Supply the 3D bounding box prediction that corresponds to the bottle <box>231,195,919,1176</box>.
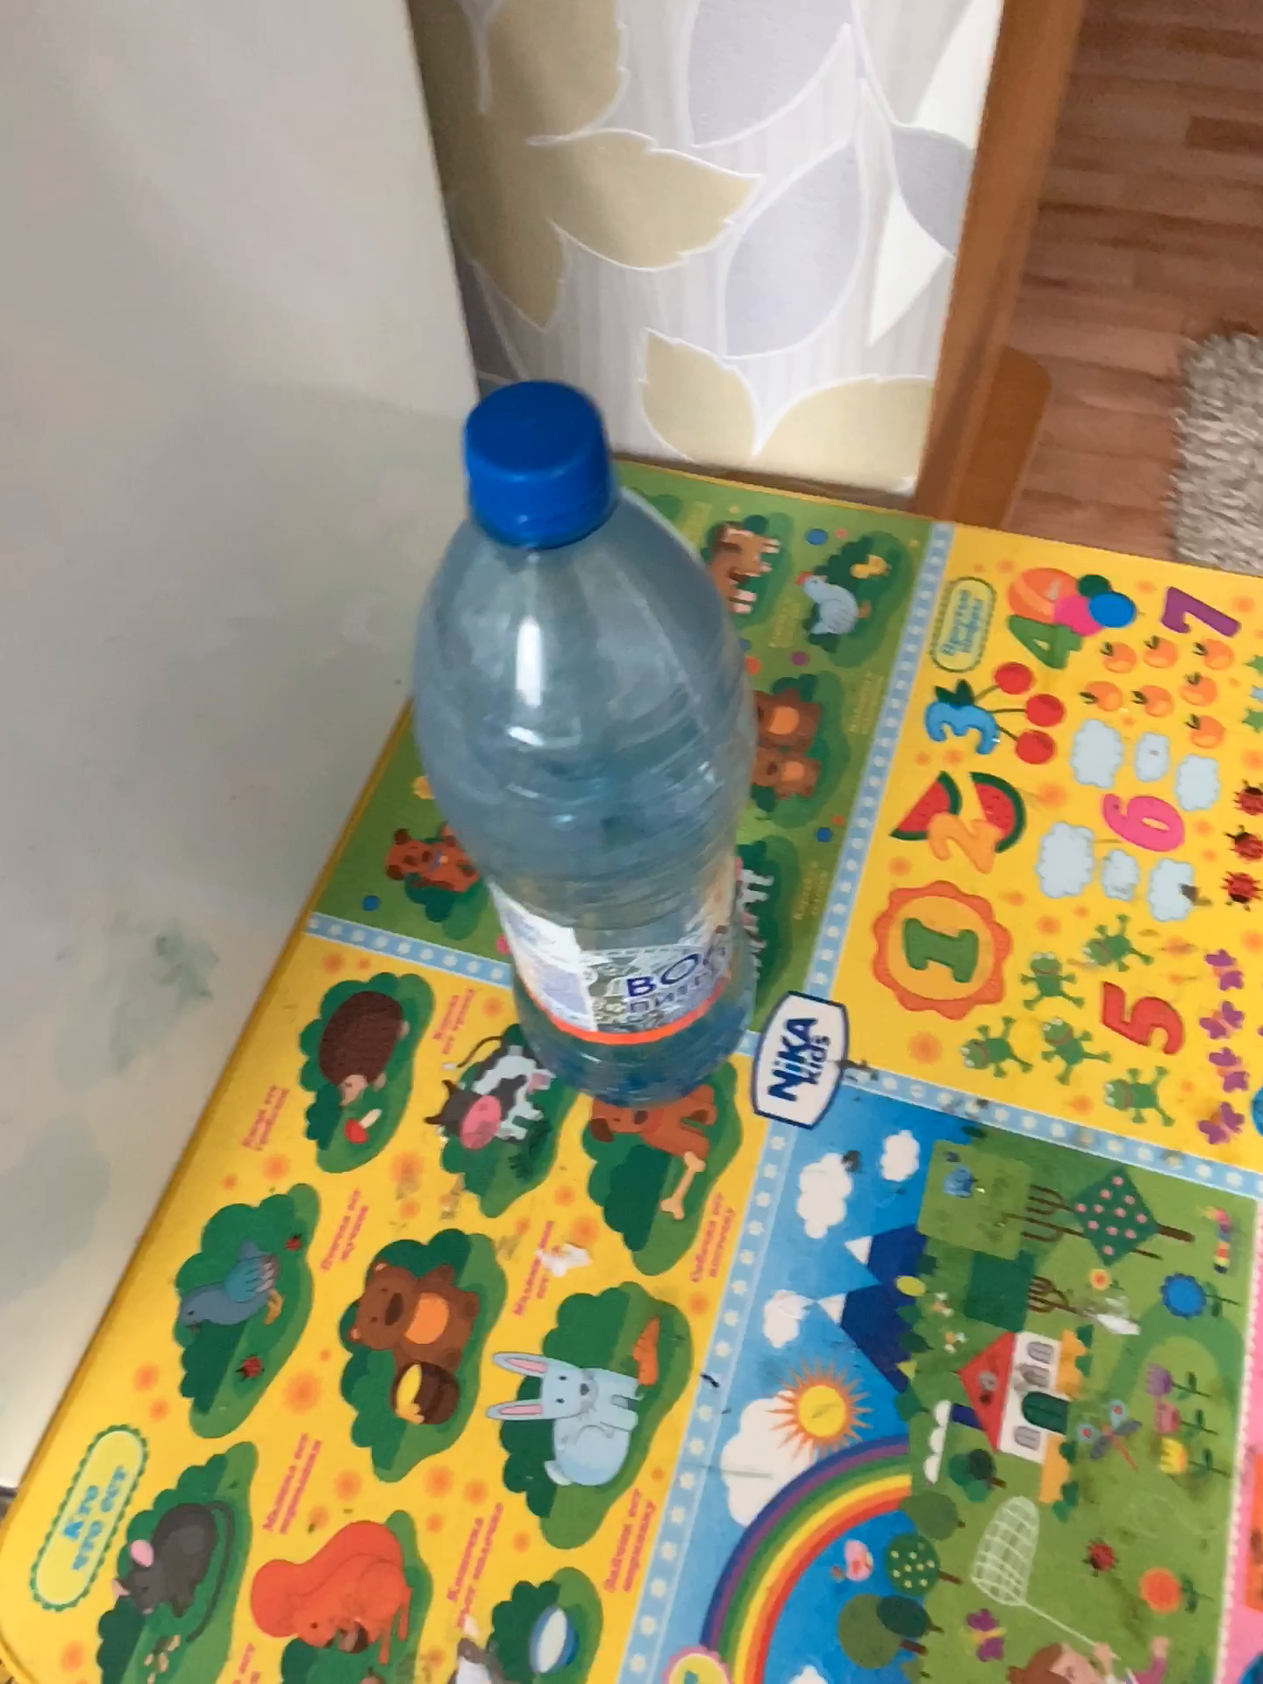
[{"bbox_3d":[-0.003,-0.010,0.401,0.100,0.318,0.100,-2,60,3],"label":"bottle"}]
